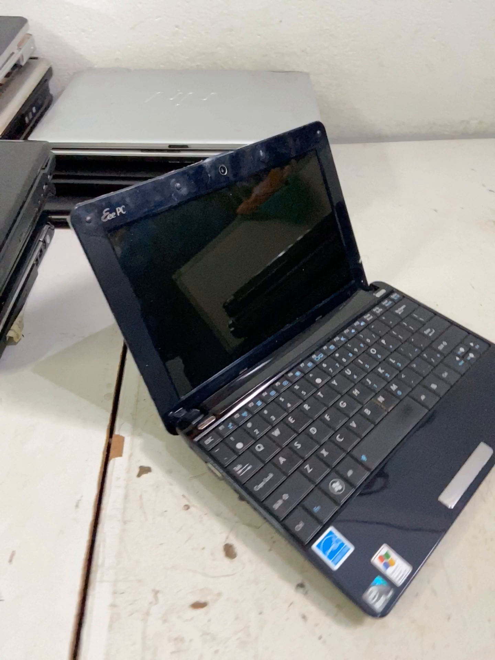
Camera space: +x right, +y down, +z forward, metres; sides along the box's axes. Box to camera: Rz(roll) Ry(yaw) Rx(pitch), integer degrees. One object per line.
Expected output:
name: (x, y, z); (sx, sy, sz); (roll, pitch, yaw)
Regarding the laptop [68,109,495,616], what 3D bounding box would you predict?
laptop: (0.068, -0.024, 0.378); (0.261, 0.133, 0.273); (-32, 53, -33)
